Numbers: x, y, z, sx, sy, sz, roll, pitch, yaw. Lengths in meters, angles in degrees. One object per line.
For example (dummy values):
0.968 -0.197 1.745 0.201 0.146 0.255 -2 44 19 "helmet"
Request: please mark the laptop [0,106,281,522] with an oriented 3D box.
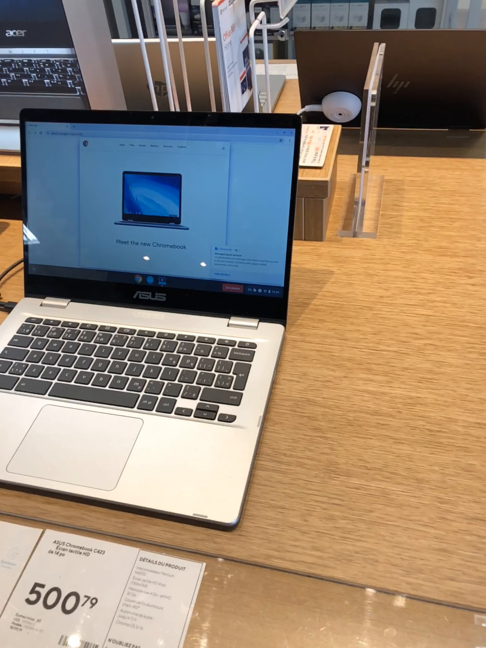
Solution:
-0.125 -0.041 0.500 0.281 0.186 0.337 5 43 9 "laptop"
